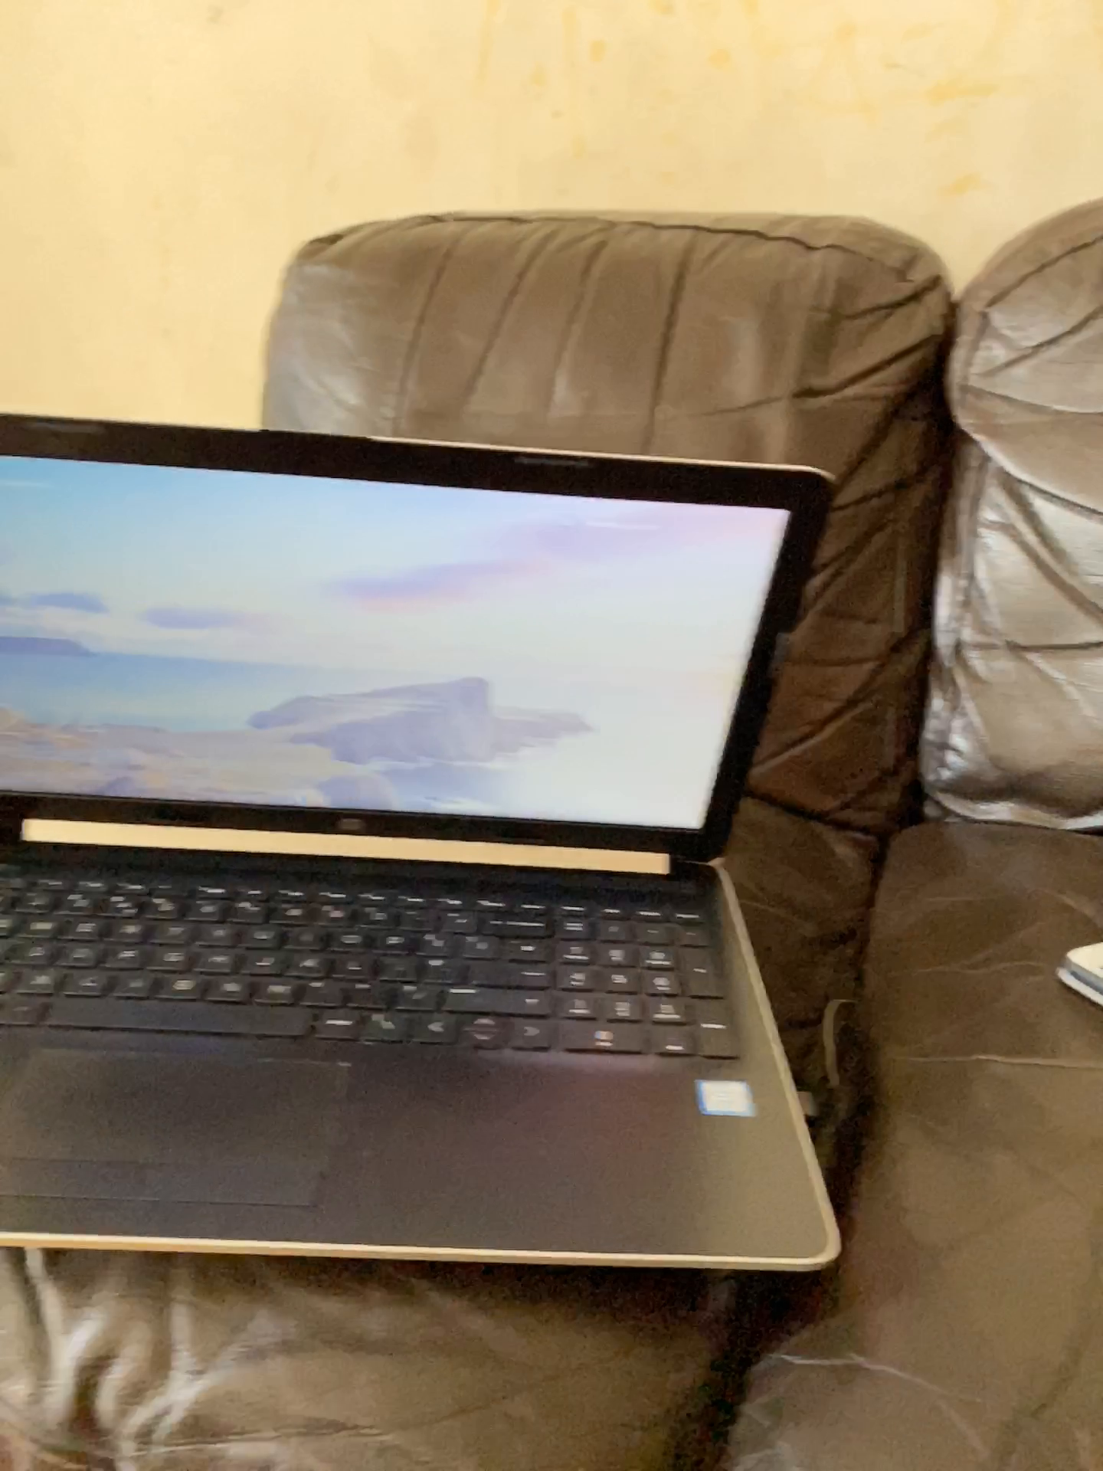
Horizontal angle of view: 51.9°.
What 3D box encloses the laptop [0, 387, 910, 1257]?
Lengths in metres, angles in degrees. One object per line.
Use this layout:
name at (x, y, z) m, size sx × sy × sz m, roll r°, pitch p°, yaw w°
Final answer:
laptop at (-0.099, 0.007, 0.420) m, size 0.371 × 0.212 × 0.238 m, roll 2°, pitch 23°, yaw -2°
